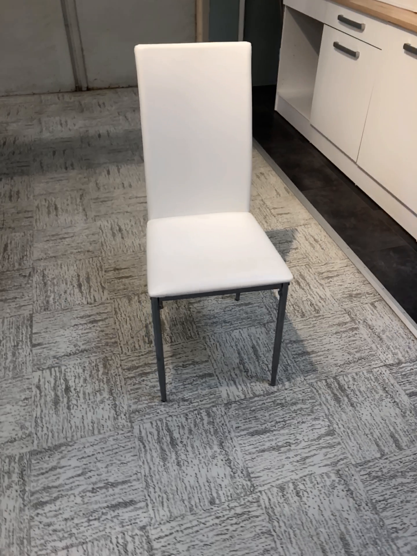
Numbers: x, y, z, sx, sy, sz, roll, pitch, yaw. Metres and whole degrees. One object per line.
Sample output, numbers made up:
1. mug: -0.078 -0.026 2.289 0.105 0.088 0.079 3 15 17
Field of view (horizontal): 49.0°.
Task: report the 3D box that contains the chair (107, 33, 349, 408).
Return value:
1. chair: -0.003 -0.150 1.380 0.470 0.944 0.553 -5 40 -7
